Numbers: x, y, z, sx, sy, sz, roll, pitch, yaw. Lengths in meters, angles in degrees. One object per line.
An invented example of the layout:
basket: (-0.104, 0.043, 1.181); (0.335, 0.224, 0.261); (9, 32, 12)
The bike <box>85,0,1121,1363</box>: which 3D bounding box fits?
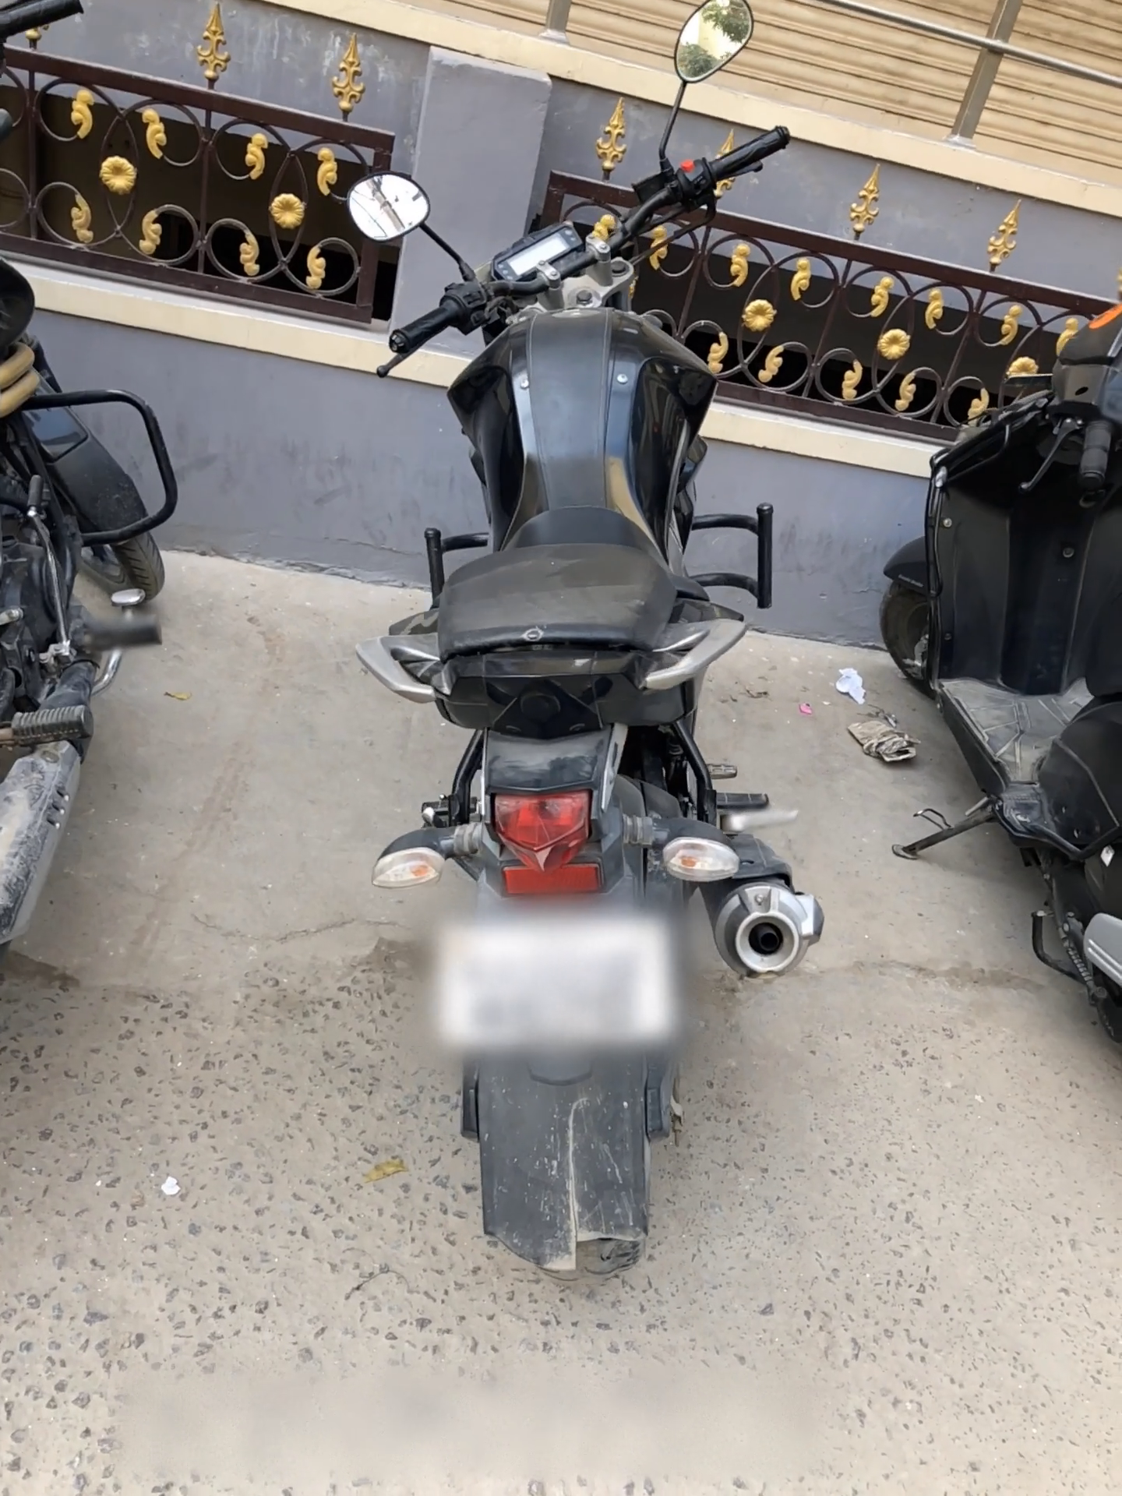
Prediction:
bike: (-0.130, -0.342, 1.836); (0.692, 1.197, 1.767); (9, 33, -10)
